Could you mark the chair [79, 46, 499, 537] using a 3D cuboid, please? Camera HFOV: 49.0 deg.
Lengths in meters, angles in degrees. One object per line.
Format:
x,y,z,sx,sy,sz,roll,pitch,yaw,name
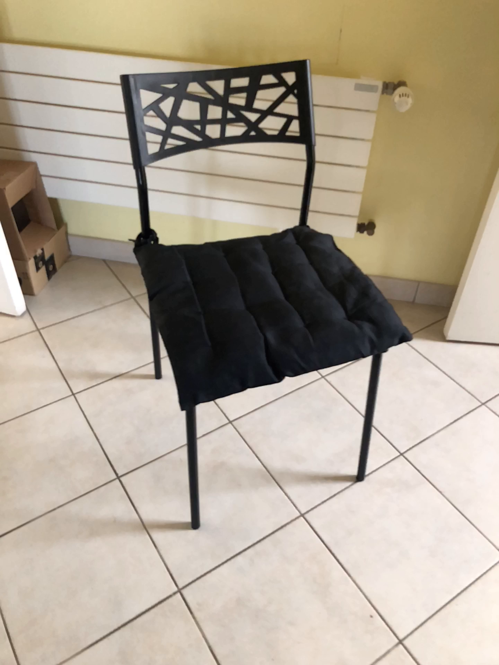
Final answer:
0.022,-0.086,1.100,0.521,0.735,0.522,-12,44,-16,chair
